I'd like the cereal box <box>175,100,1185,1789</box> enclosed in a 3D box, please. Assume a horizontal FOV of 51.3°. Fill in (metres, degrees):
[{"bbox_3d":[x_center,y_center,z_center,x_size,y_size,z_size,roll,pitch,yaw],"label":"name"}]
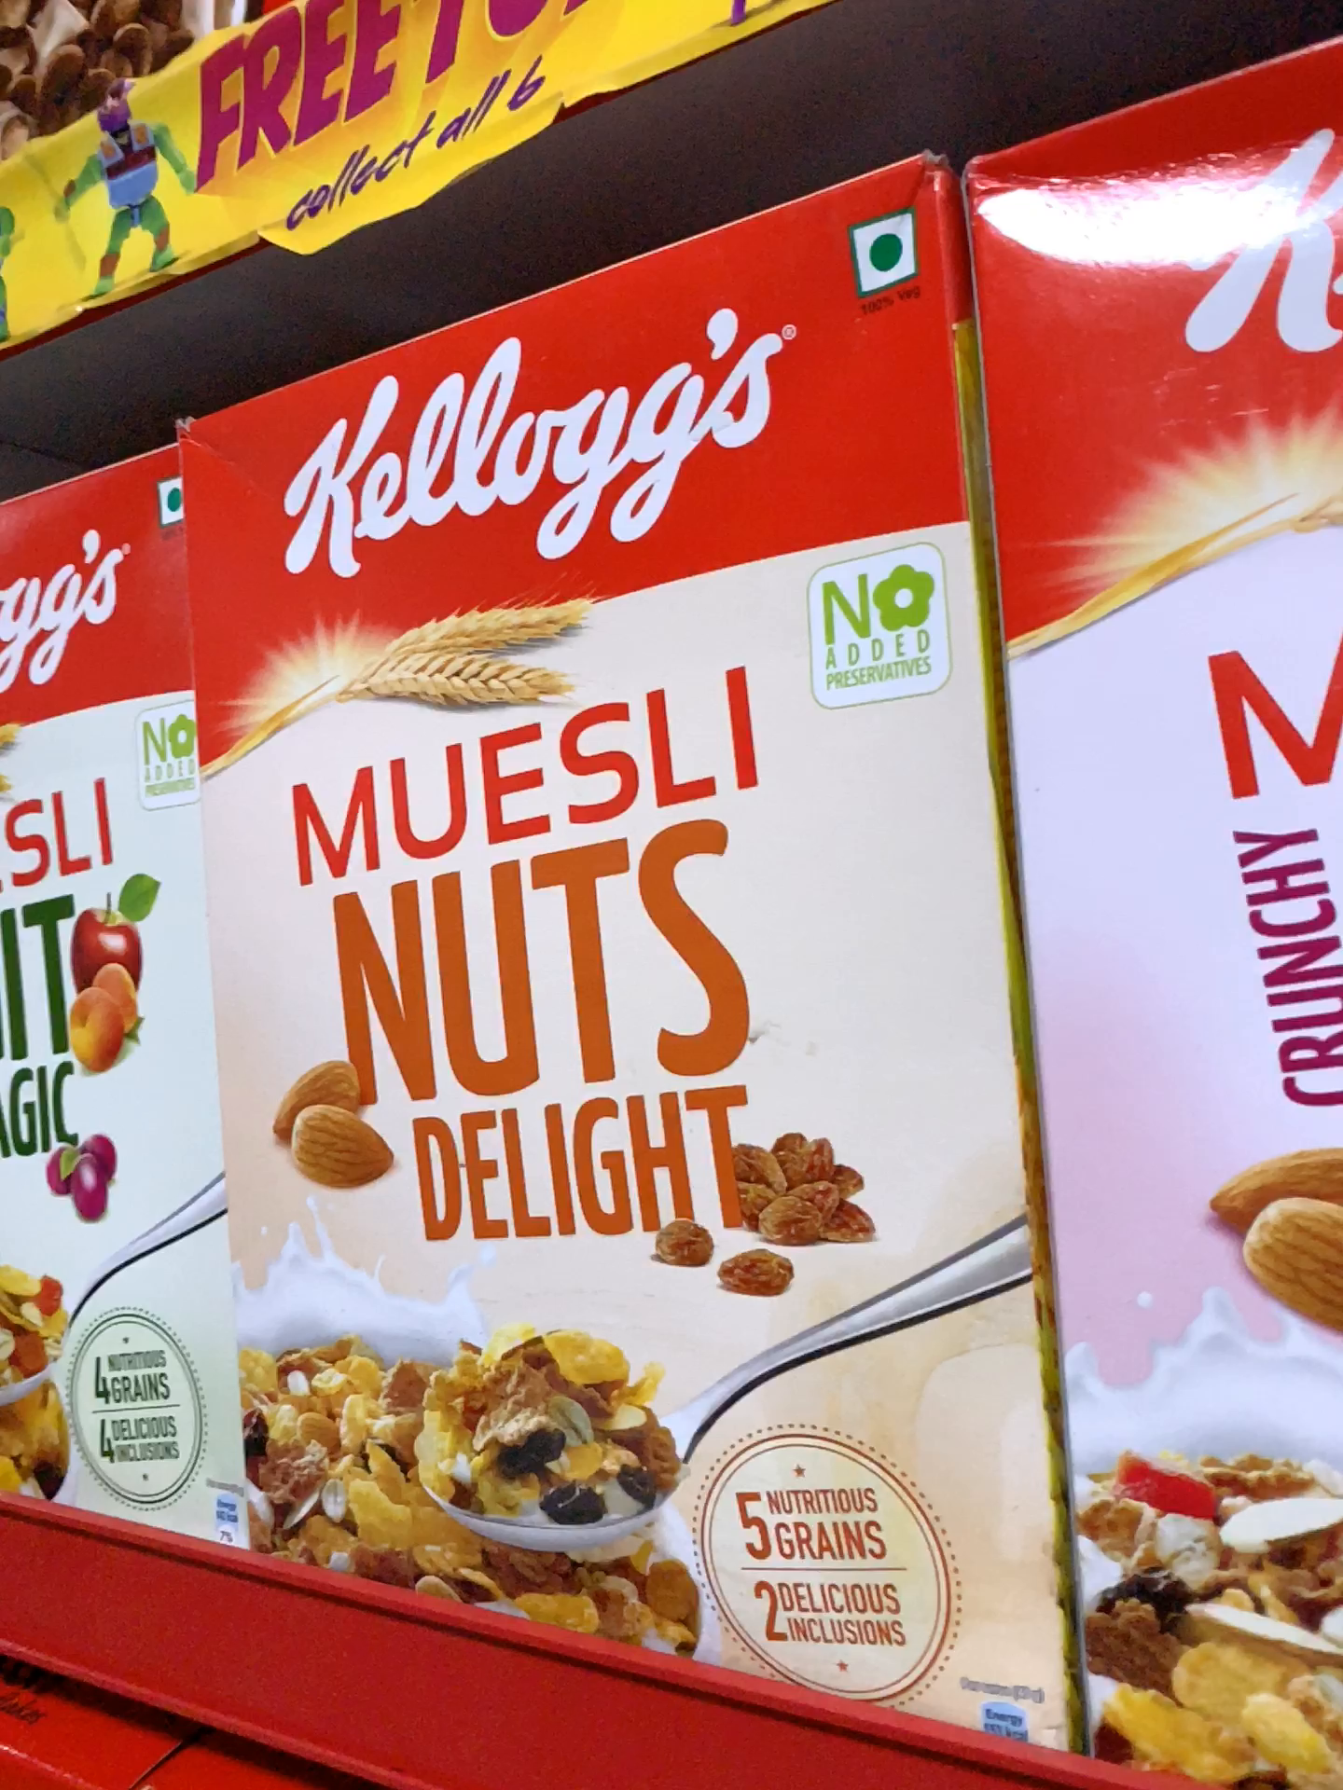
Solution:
[{"bbox_3d":[-0.006,0.014,0.268,0.170,0.250,0.060,-5,-2,31],"label":"cereal box"}]
